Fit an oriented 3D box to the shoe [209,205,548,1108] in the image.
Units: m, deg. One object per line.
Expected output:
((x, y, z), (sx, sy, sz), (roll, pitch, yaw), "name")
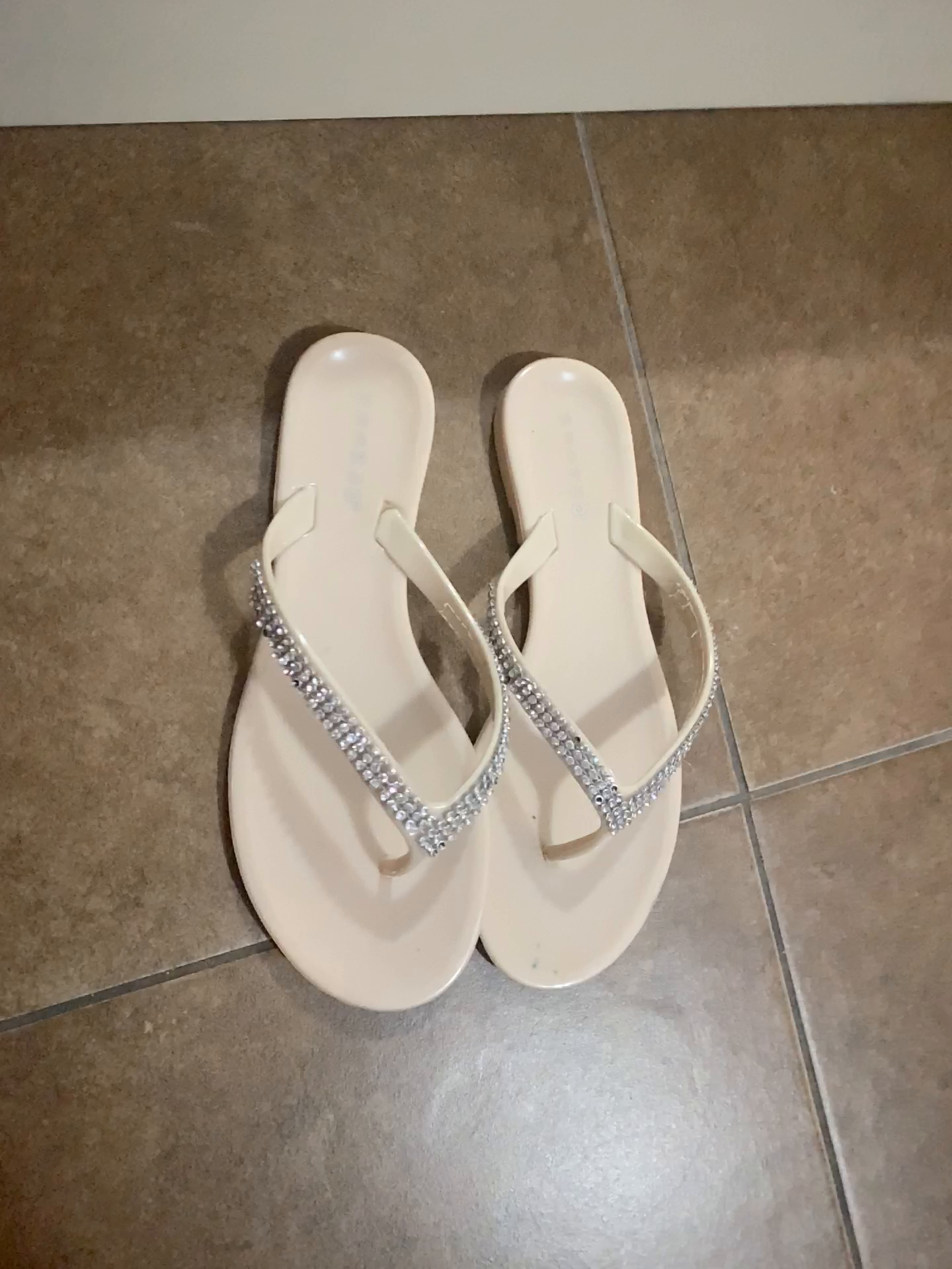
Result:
((-0.036, 0.004, 0.314), (0.093, 0.067, 0.249), (1, 84, -17), "shoe")

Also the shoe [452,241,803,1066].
((0.047, 0.004, 0.339), (0.092, 0.067, 0.249), (1, 84, -17), "shoe")
